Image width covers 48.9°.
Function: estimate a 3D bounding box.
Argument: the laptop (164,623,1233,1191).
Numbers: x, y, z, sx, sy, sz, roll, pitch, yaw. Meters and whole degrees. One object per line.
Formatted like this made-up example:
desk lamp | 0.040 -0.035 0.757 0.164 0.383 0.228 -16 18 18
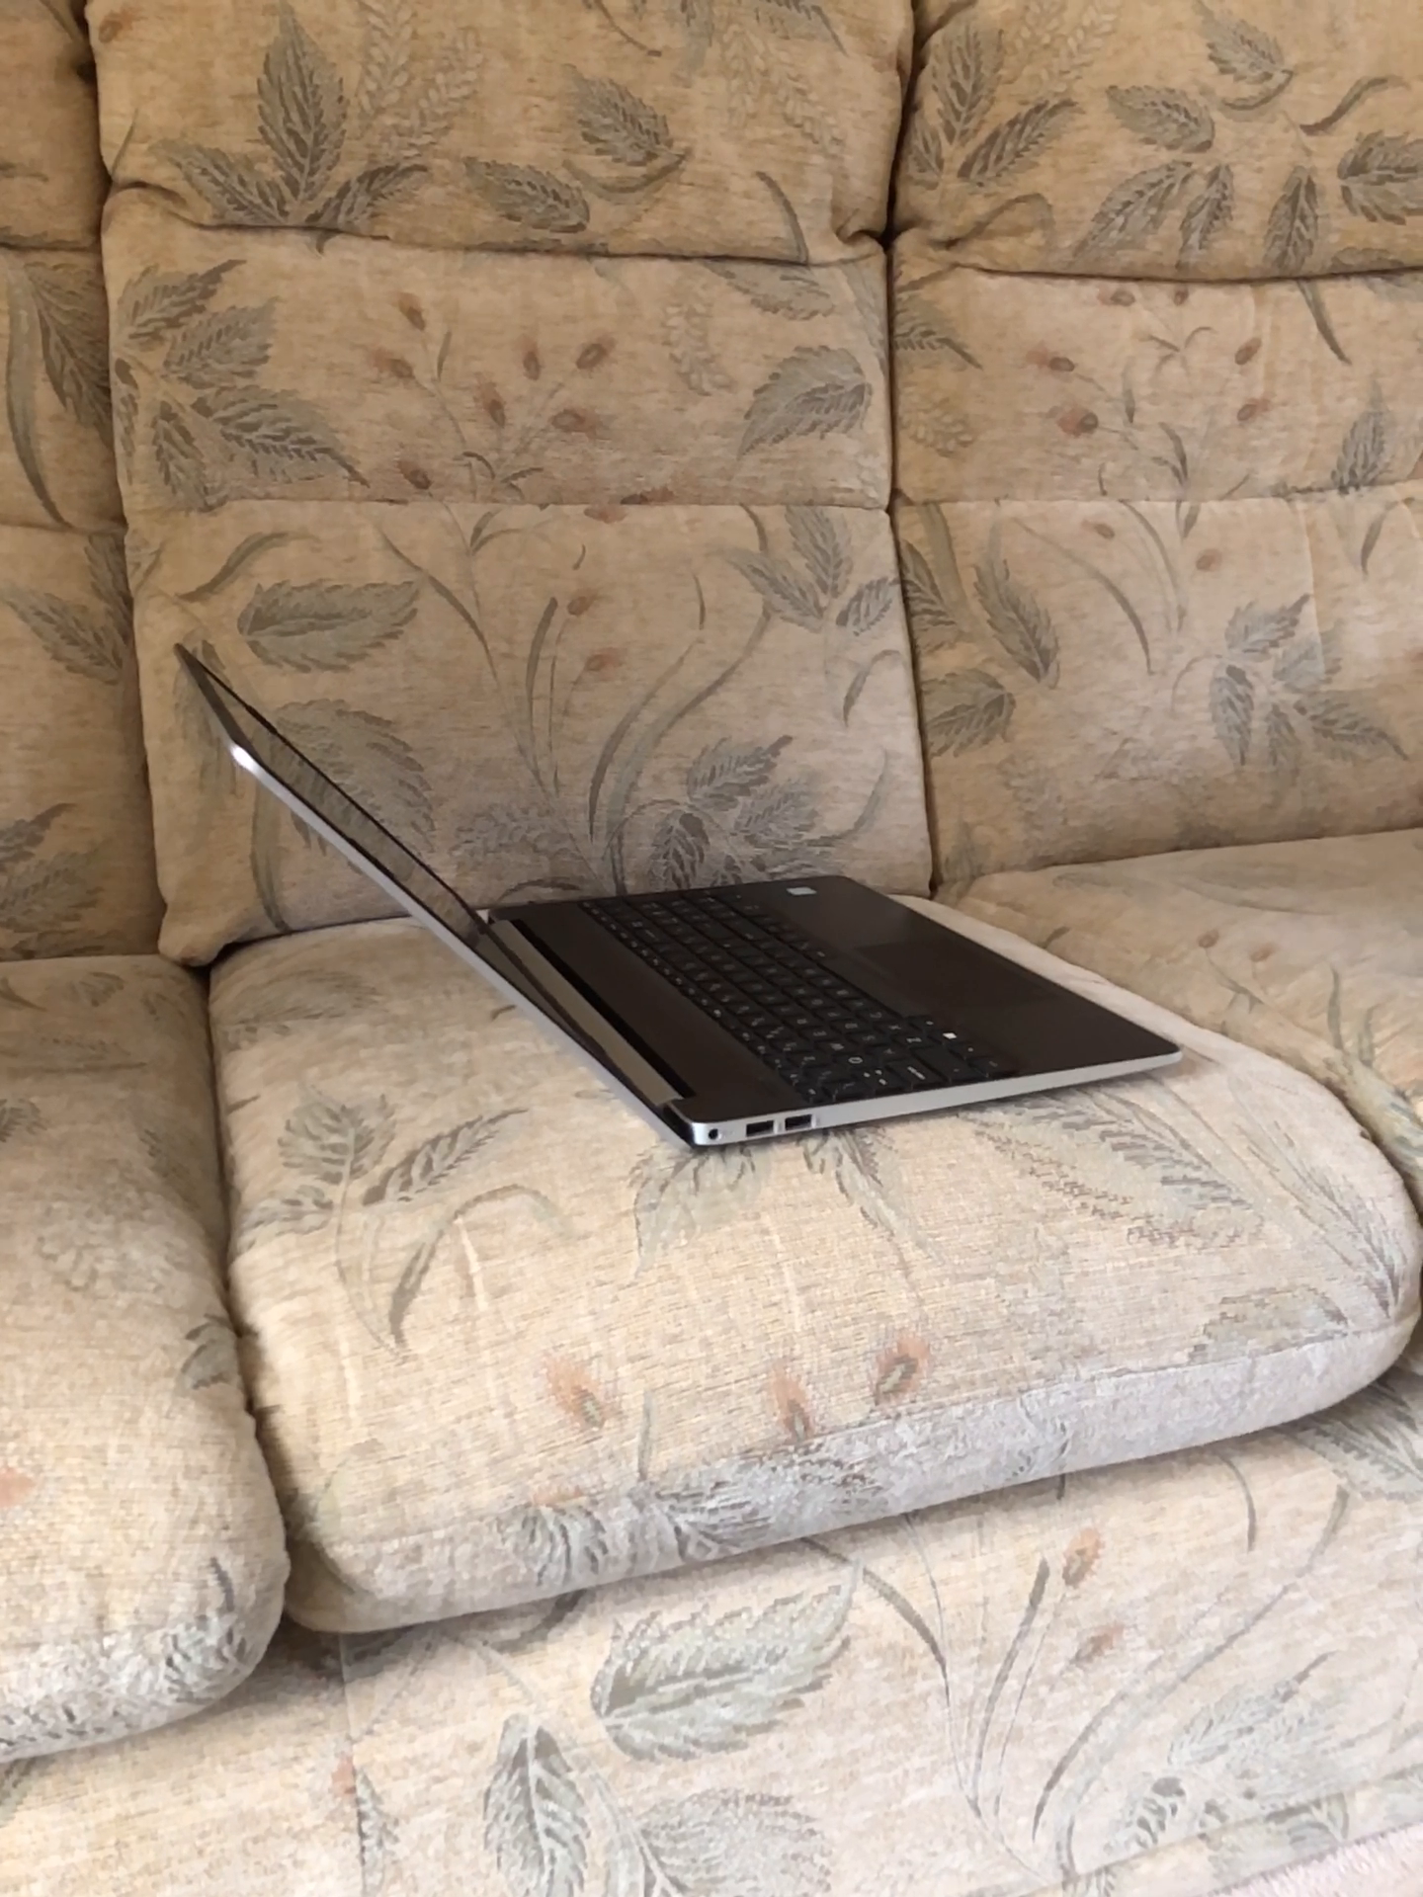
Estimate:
laptop | -0.034 -0.055 0.748 0.397 0.163 0.339 -6 20 -22
